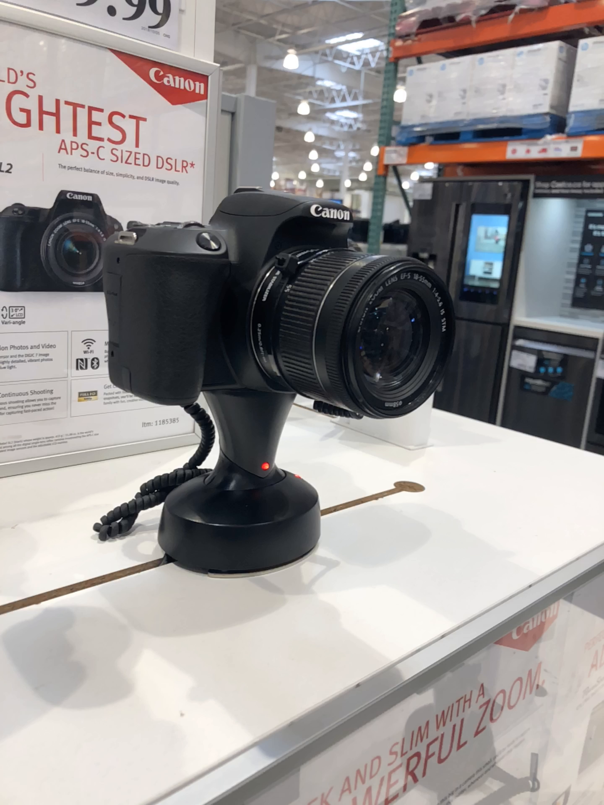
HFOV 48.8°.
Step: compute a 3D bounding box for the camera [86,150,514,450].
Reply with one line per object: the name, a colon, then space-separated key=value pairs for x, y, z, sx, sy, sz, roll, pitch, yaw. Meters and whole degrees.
camera: x=-0.004 y=-0.048 z=0.286 sx=0.130 sy=0.090 sz=0.120 roll=-7 pitch=18 yaw=-42
